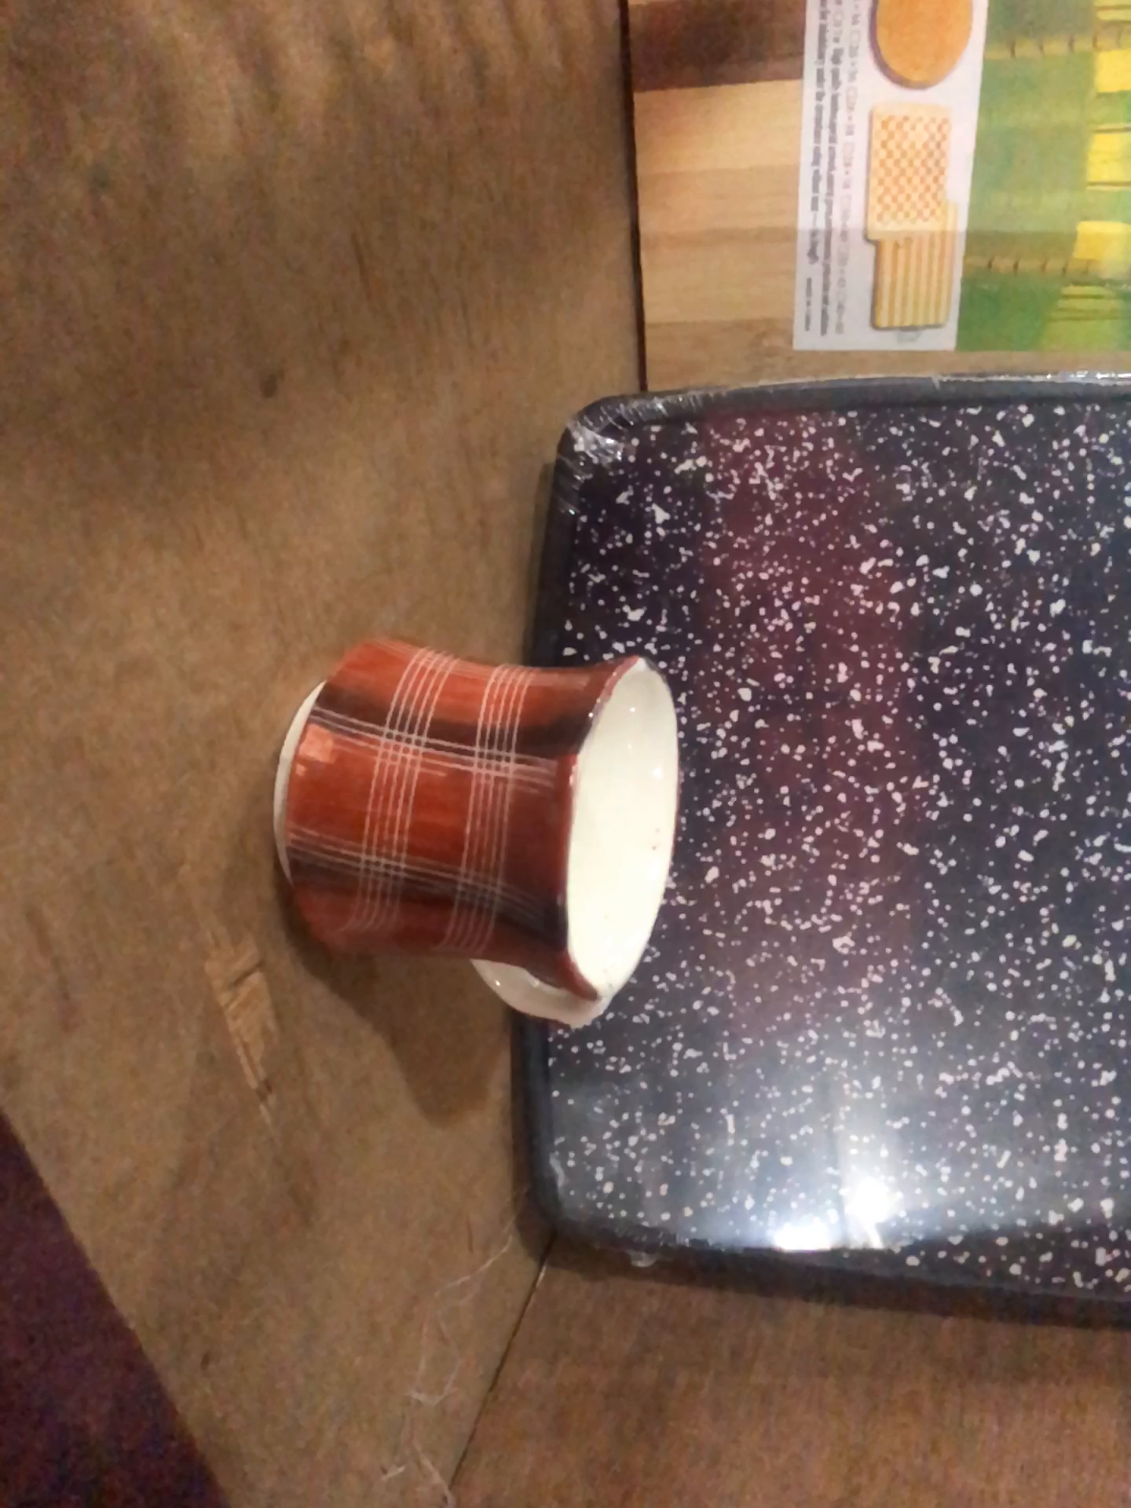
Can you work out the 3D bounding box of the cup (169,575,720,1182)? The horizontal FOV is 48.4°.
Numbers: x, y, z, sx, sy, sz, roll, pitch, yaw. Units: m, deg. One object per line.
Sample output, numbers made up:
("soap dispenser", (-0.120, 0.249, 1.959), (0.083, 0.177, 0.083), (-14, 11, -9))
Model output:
("cup", (-0.014, 0.023, 0.231), (0.090, 0.060, 0.060), (74, 30, -41))
